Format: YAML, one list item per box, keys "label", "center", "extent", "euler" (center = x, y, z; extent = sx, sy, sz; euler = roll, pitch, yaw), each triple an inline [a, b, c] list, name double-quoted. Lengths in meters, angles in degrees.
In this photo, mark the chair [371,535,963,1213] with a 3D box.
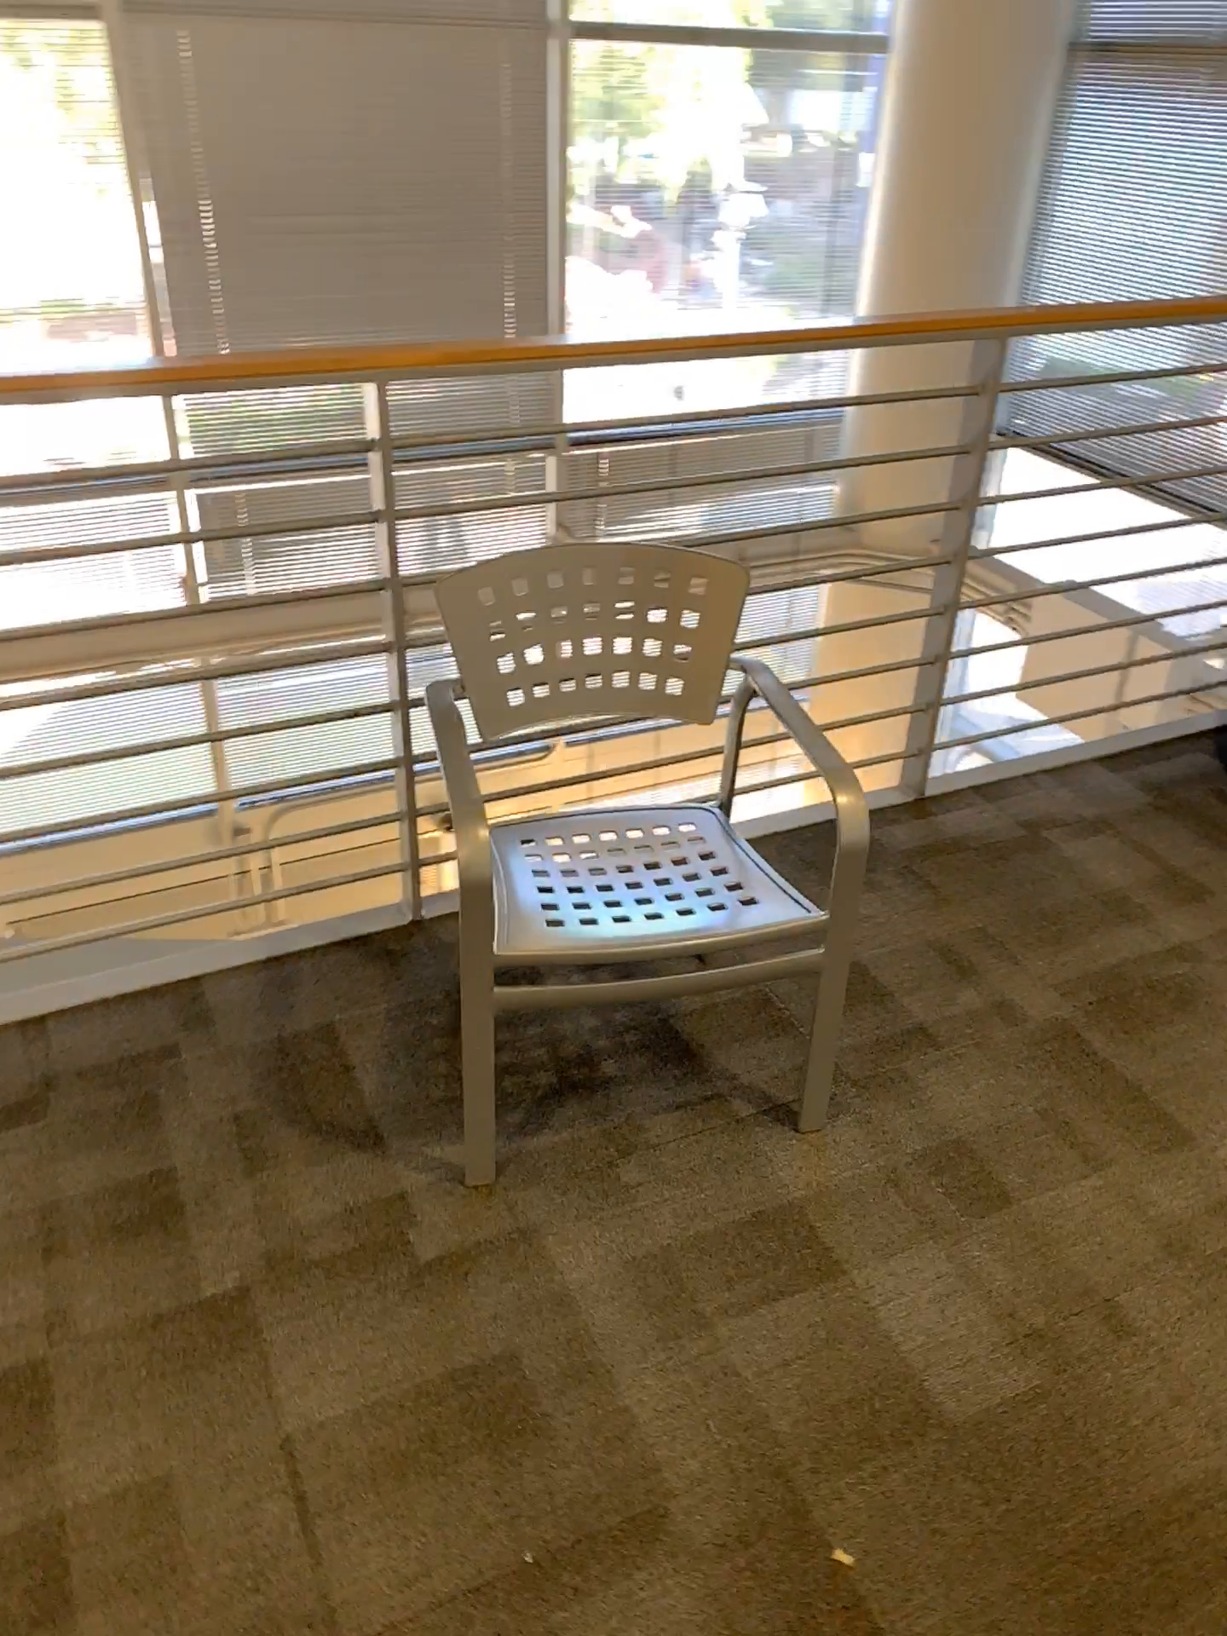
- label: "chair"
  center: [0.019, 0.045, 2.028]
  extent: [0.680, 0.755, 0.684]
  euler: [-7, 33, -15]
